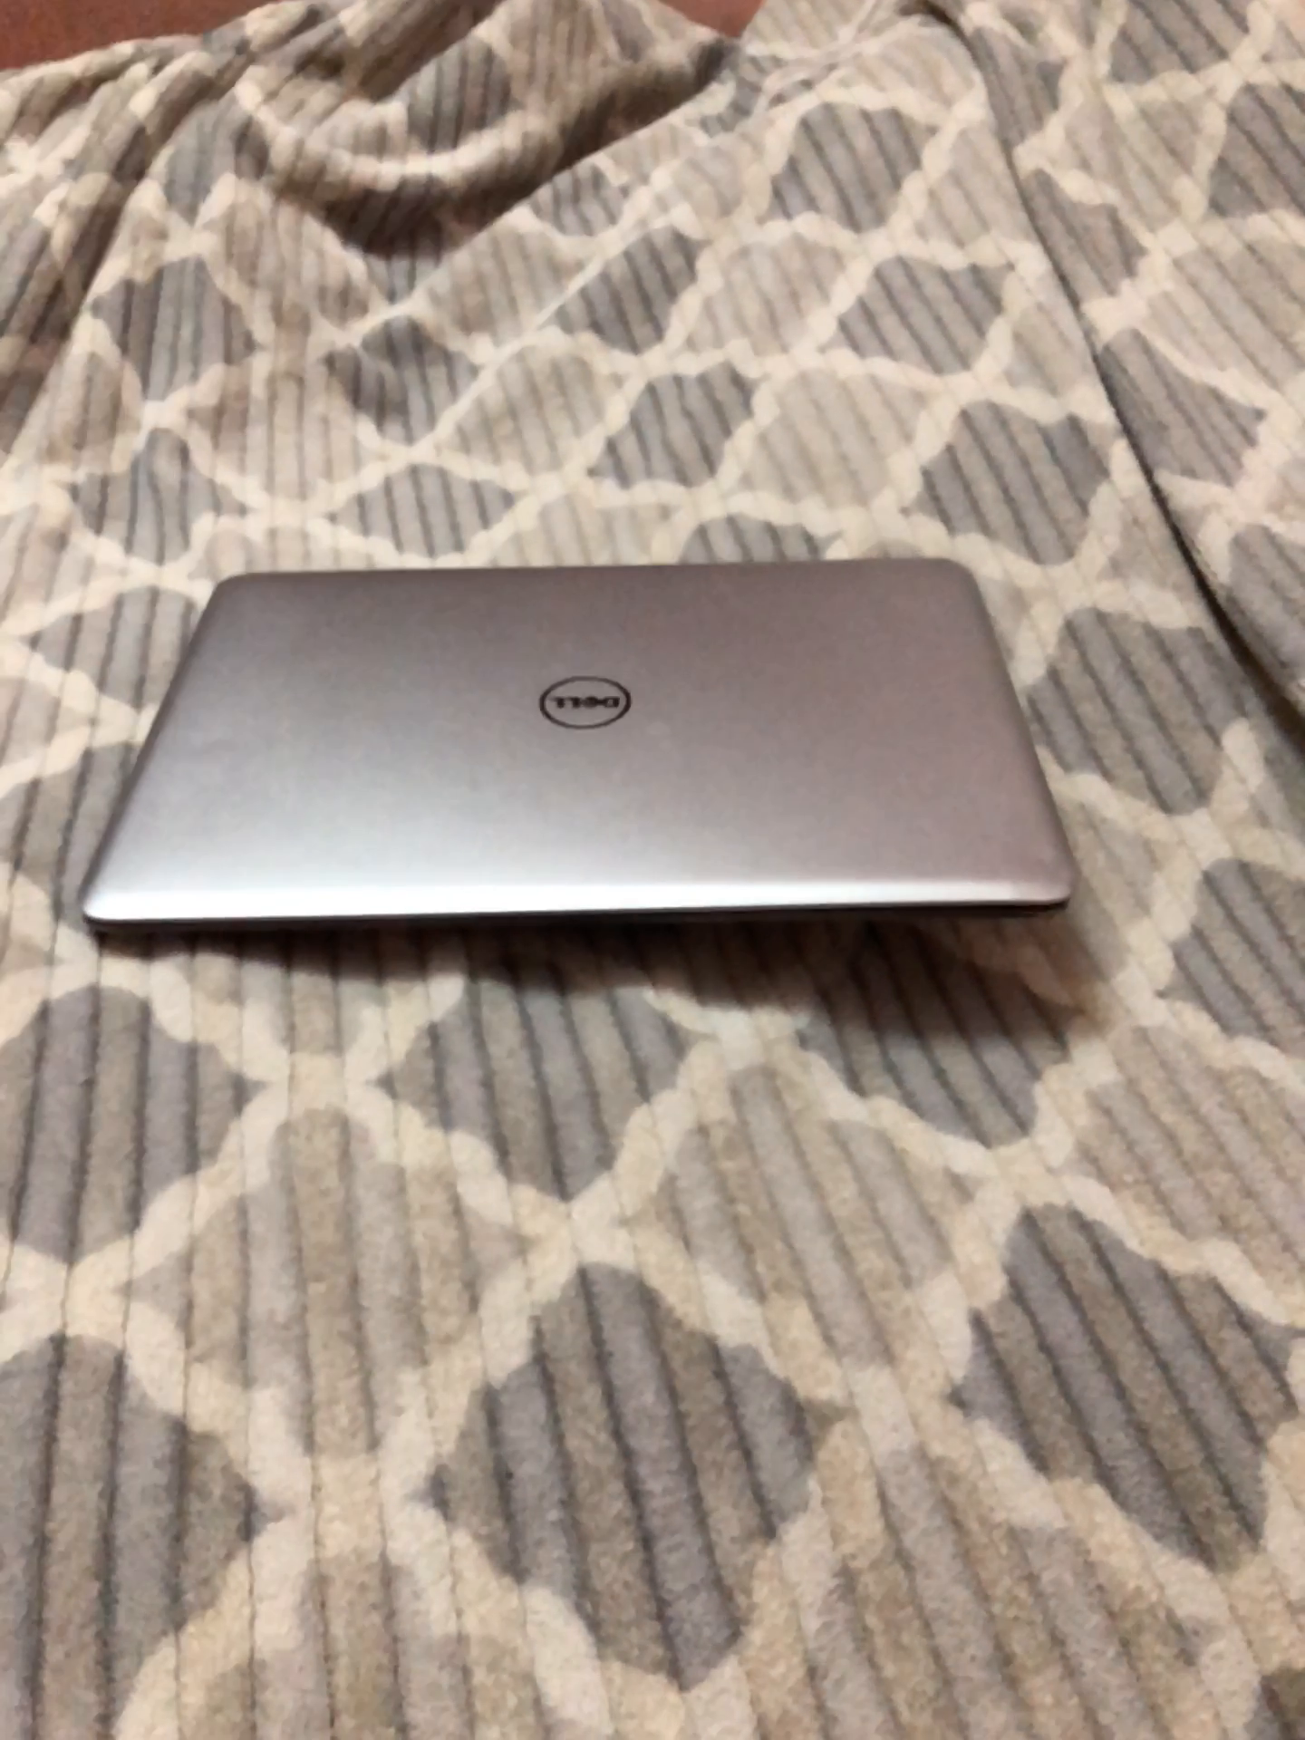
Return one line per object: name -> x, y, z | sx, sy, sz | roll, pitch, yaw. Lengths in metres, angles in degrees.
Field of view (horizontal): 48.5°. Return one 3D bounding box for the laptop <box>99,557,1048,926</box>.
laptop -> -0.032, -0.069, 0.644 | 0.359, 0.007, 0.253 | -1, 42, 0
